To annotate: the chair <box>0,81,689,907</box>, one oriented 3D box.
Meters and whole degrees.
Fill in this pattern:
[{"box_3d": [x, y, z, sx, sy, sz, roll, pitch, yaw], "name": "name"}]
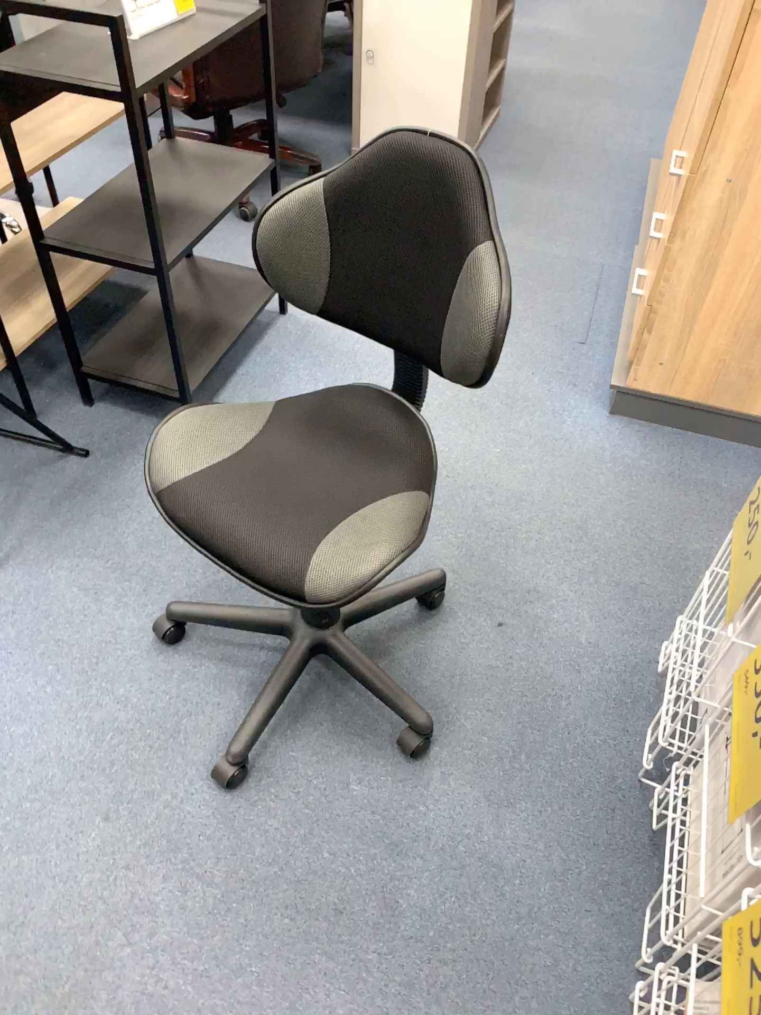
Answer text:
[{"box_3d": [-0.092, -0.012, 1.229, 0.631, 0.916, 0.692, 30, 52, 23], "name": "chair"}]
